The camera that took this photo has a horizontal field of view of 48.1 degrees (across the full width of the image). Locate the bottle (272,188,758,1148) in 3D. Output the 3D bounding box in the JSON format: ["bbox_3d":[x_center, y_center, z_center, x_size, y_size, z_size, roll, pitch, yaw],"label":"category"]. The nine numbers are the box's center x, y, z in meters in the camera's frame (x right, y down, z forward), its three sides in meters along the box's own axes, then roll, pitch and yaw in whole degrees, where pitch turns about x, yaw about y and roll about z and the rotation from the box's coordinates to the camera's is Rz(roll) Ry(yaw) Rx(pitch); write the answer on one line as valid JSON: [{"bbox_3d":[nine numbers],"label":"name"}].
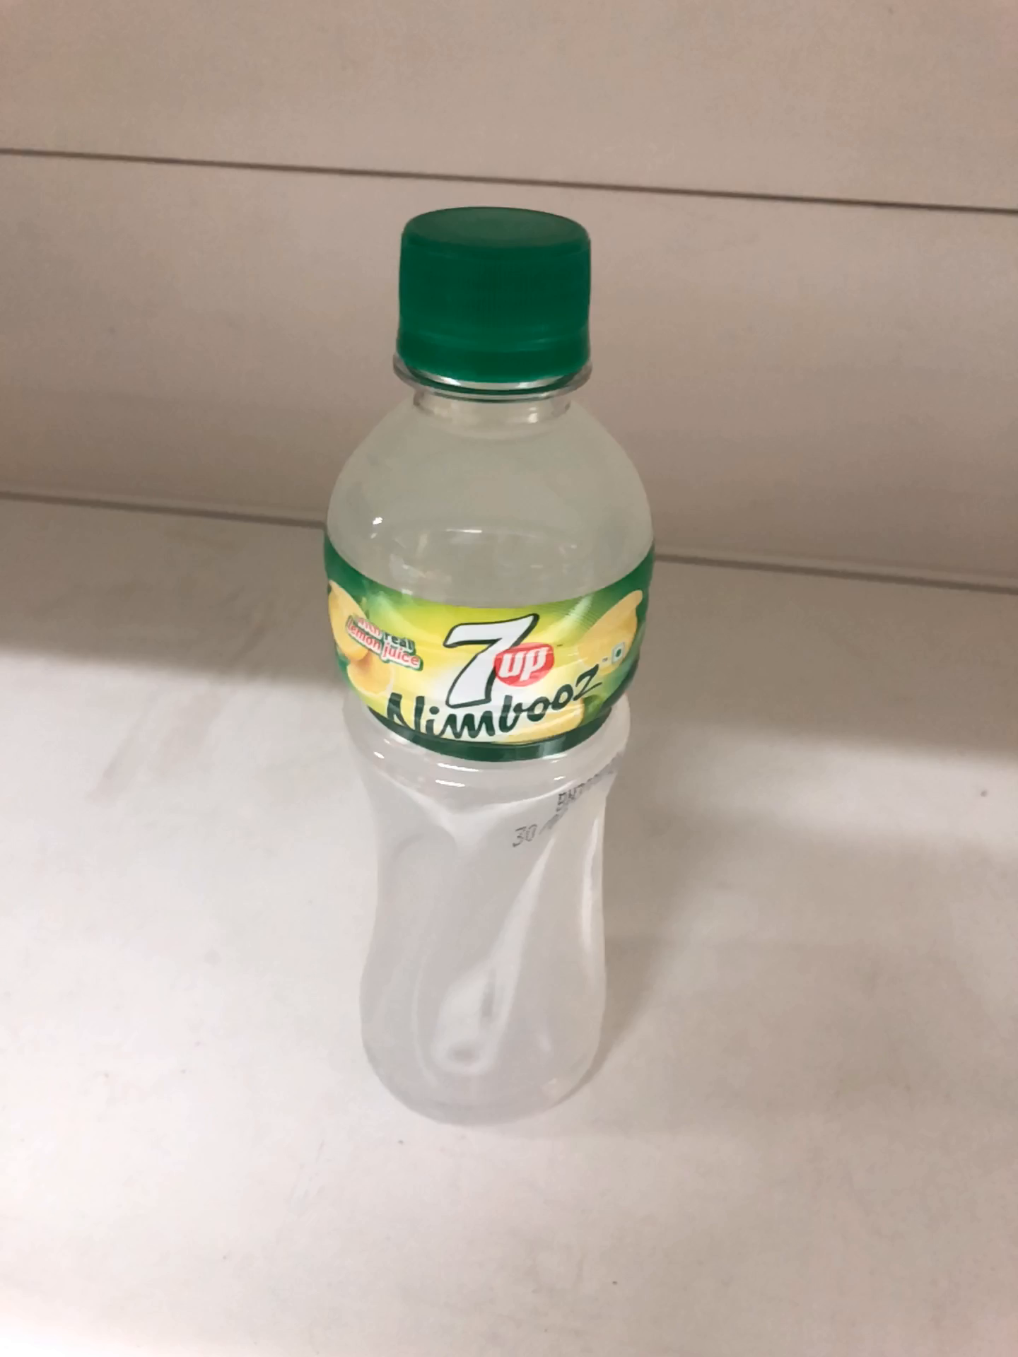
[{"bbox_3d":[-0.004,0.009,0.242,0.070,0.199,0.060,0,32,-3],"label":"bottle"}]
